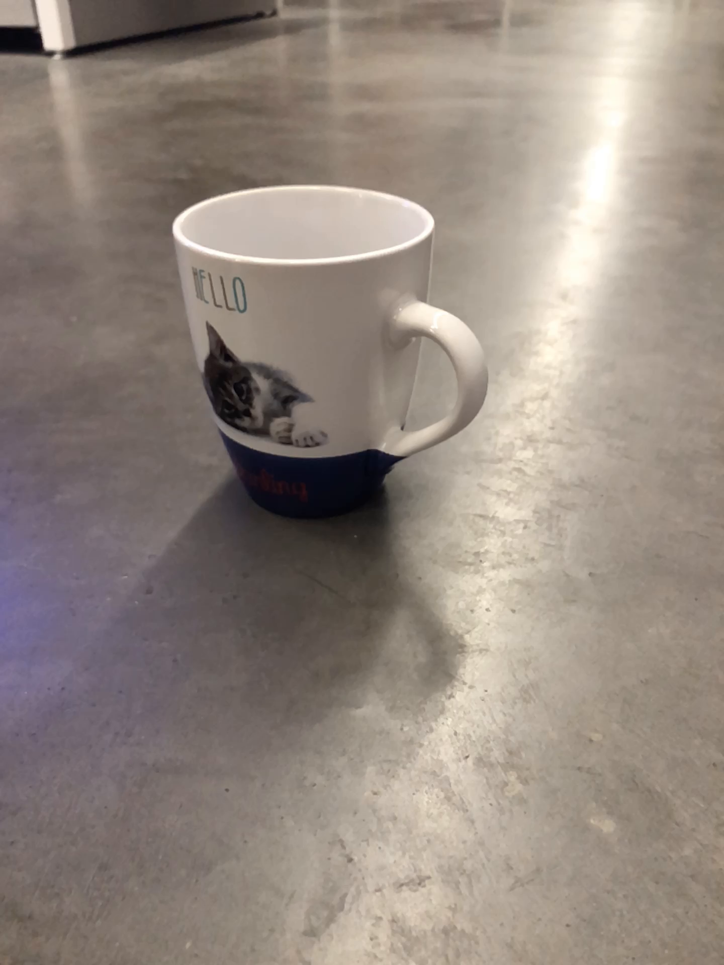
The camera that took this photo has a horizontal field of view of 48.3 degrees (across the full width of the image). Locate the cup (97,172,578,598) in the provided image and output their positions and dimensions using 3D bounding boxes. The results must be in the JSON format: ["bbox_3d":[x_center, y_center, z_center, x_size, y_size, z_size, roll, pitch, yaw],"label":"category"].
[{"bbox_3d":[-0.007,-0.049,0.309,0.127,0.098,0.112,23,40,30],"label":"cup"}]
